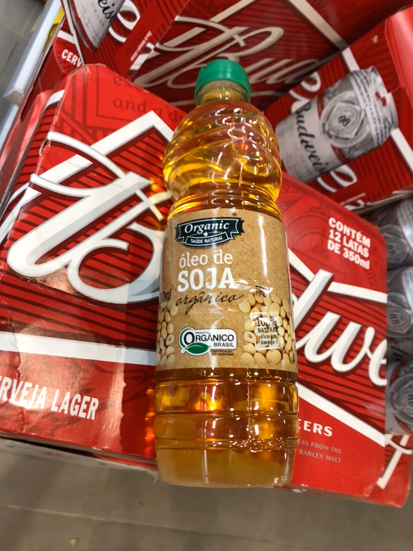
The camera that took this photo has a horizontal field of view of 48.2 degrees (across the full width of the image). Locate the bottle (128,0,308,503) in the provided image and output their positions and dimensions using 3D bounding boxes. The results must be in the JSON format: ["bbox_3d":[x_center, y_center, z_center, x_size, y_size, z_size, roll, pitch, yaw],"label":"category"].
[{"bbox_3d":[0.010,-0.025,0.232,0.060,0.060,0.240,40,48,-63],"label":"bottle"}]
